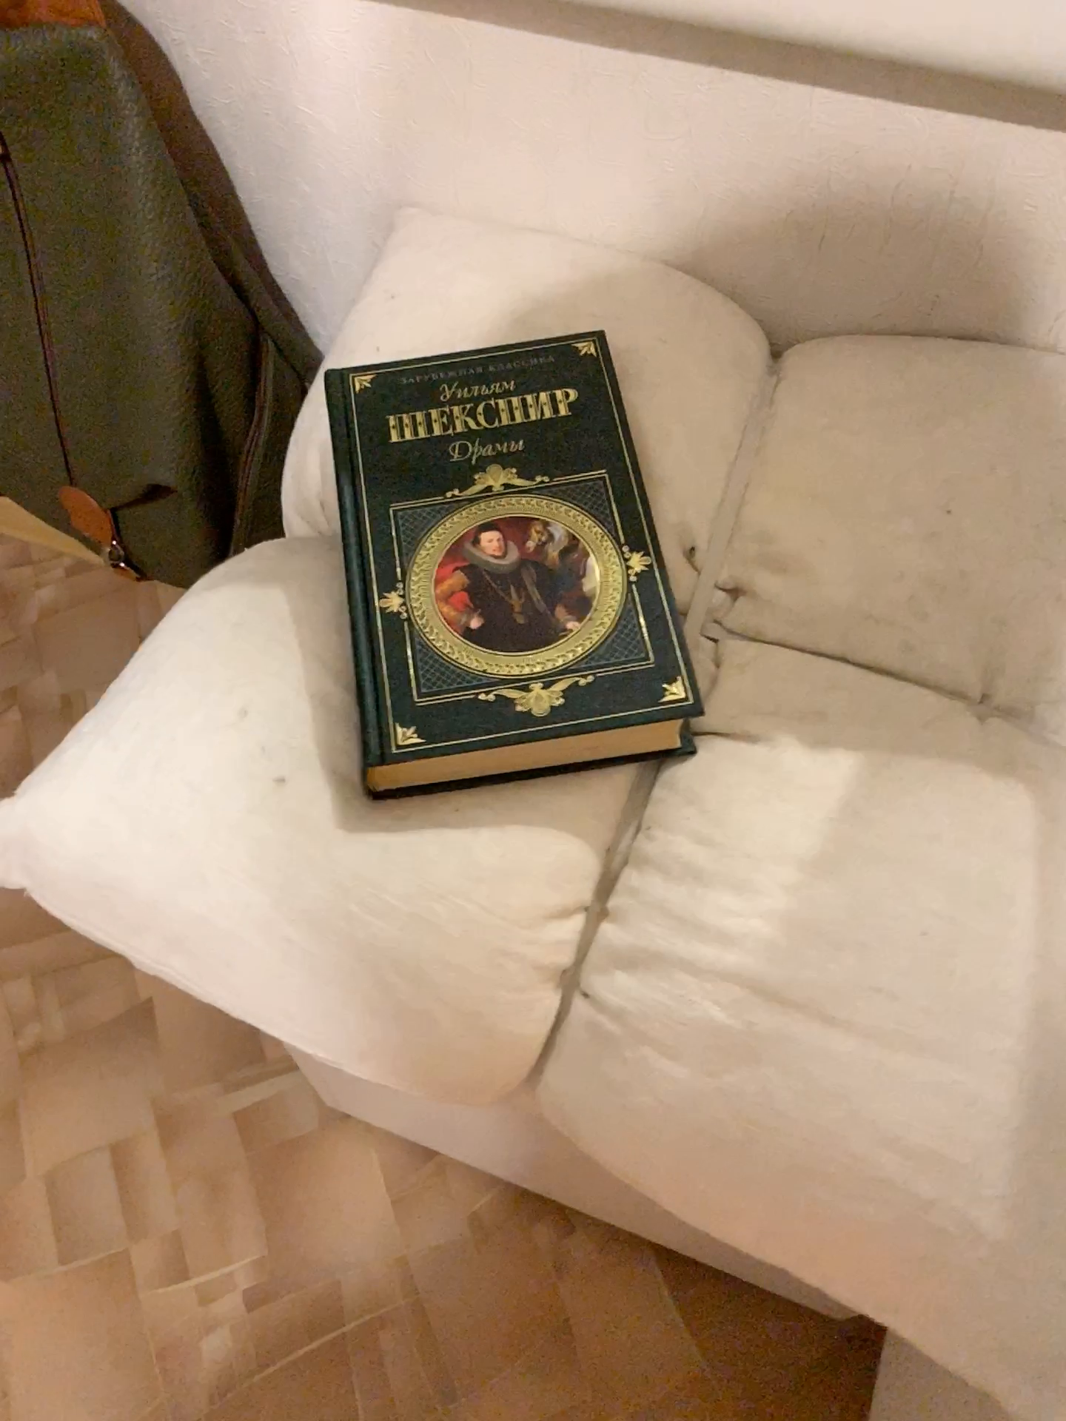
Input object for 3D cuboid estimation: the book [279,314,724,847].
[{"bbox_3d":[-0.022,-0.064,0.455,0.150,0.040,0.221,-8,61,-3],"label":"book"}]
